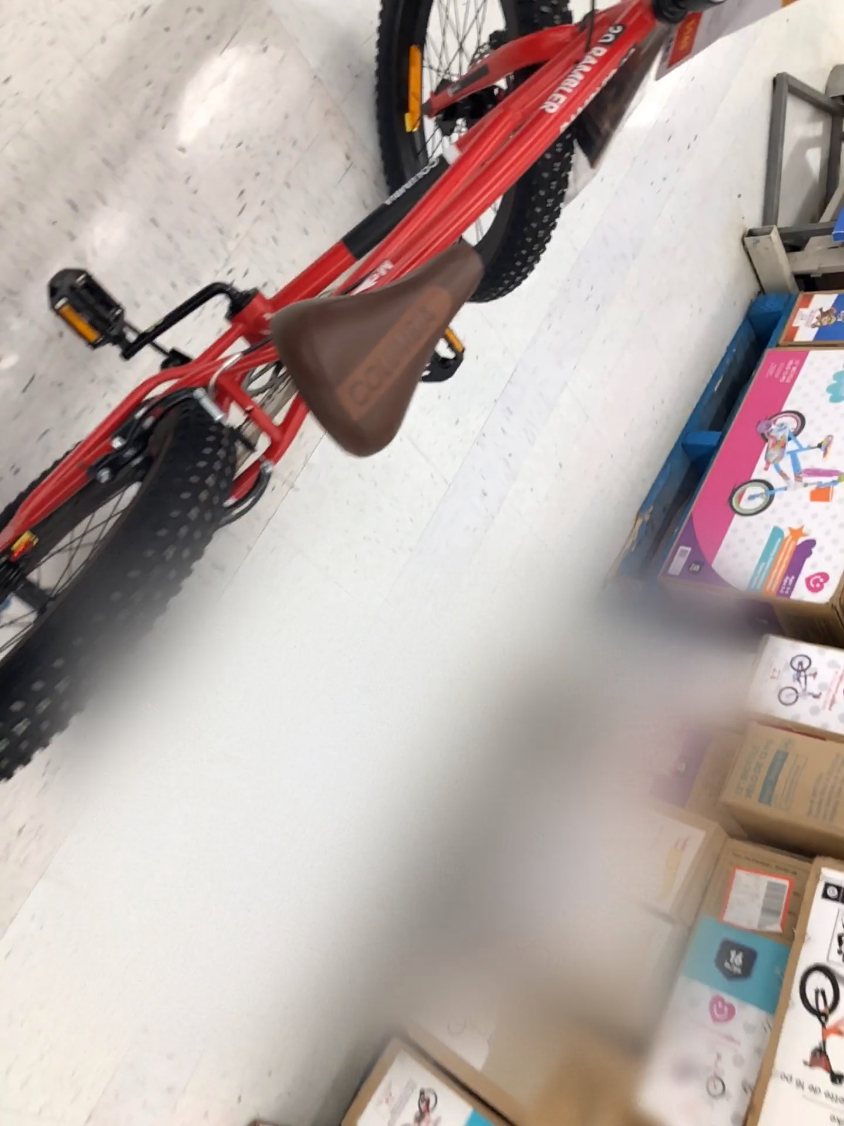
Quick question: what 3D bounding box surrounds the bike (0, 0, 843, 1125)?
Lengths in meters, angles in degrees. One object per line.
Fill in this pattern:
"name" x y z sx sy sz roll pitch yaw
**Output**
"bike" -0.121 -0.307 0.996 0.610 0.967 1.358 45 63 -41
